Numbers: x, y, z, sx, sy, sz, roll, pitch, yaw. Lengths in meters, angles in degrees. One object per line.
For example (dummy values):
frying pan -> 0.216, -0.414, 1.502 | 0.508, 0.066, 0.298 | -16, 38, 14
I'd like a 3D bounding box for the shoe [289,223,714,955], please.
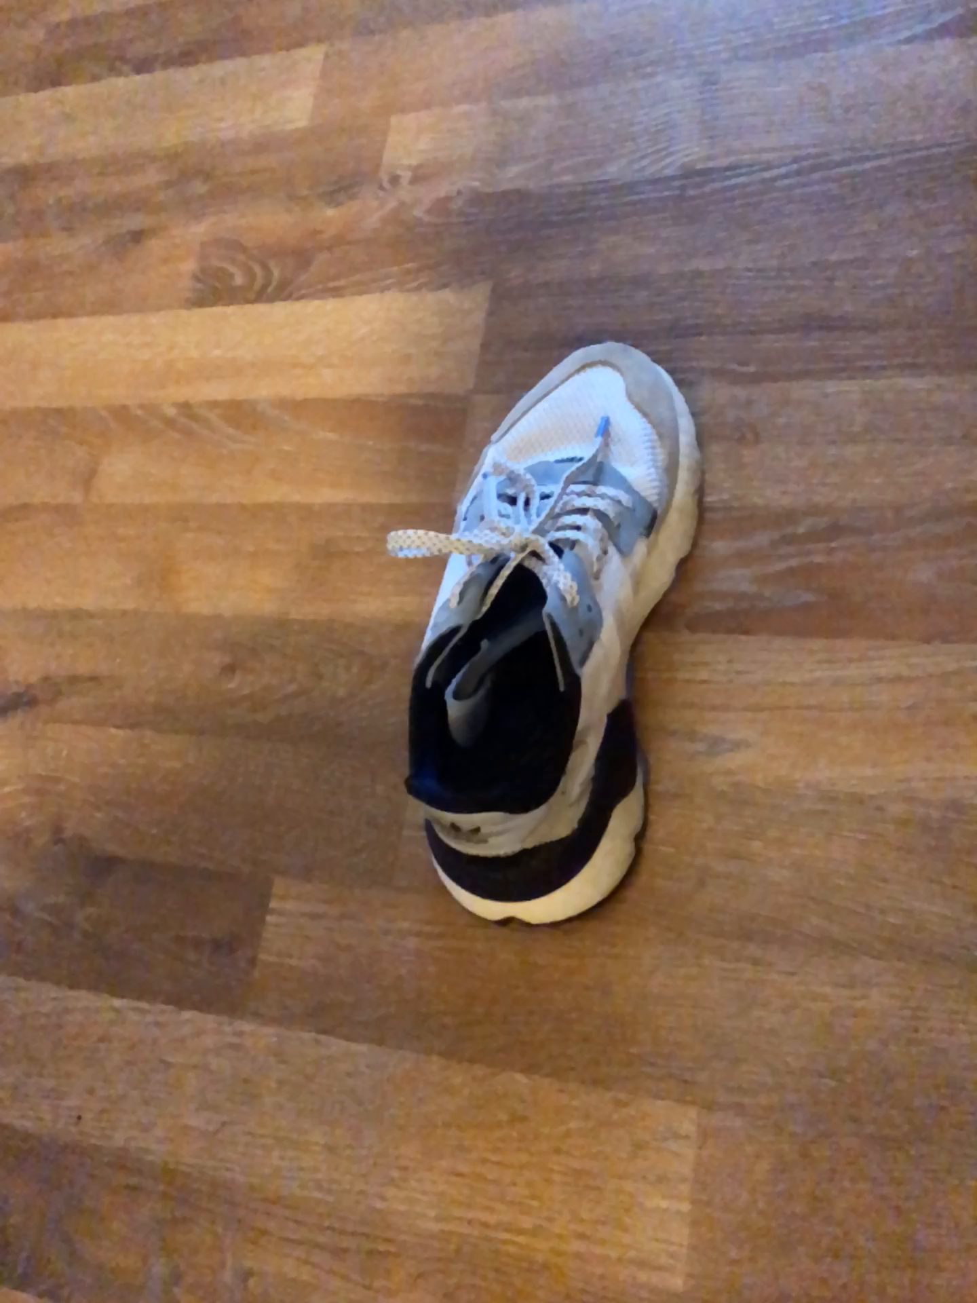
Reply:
shoe -> 0.020, -0.024, 0.451 | 0.113, 0.110, 0.271 | 2, 71, 20
